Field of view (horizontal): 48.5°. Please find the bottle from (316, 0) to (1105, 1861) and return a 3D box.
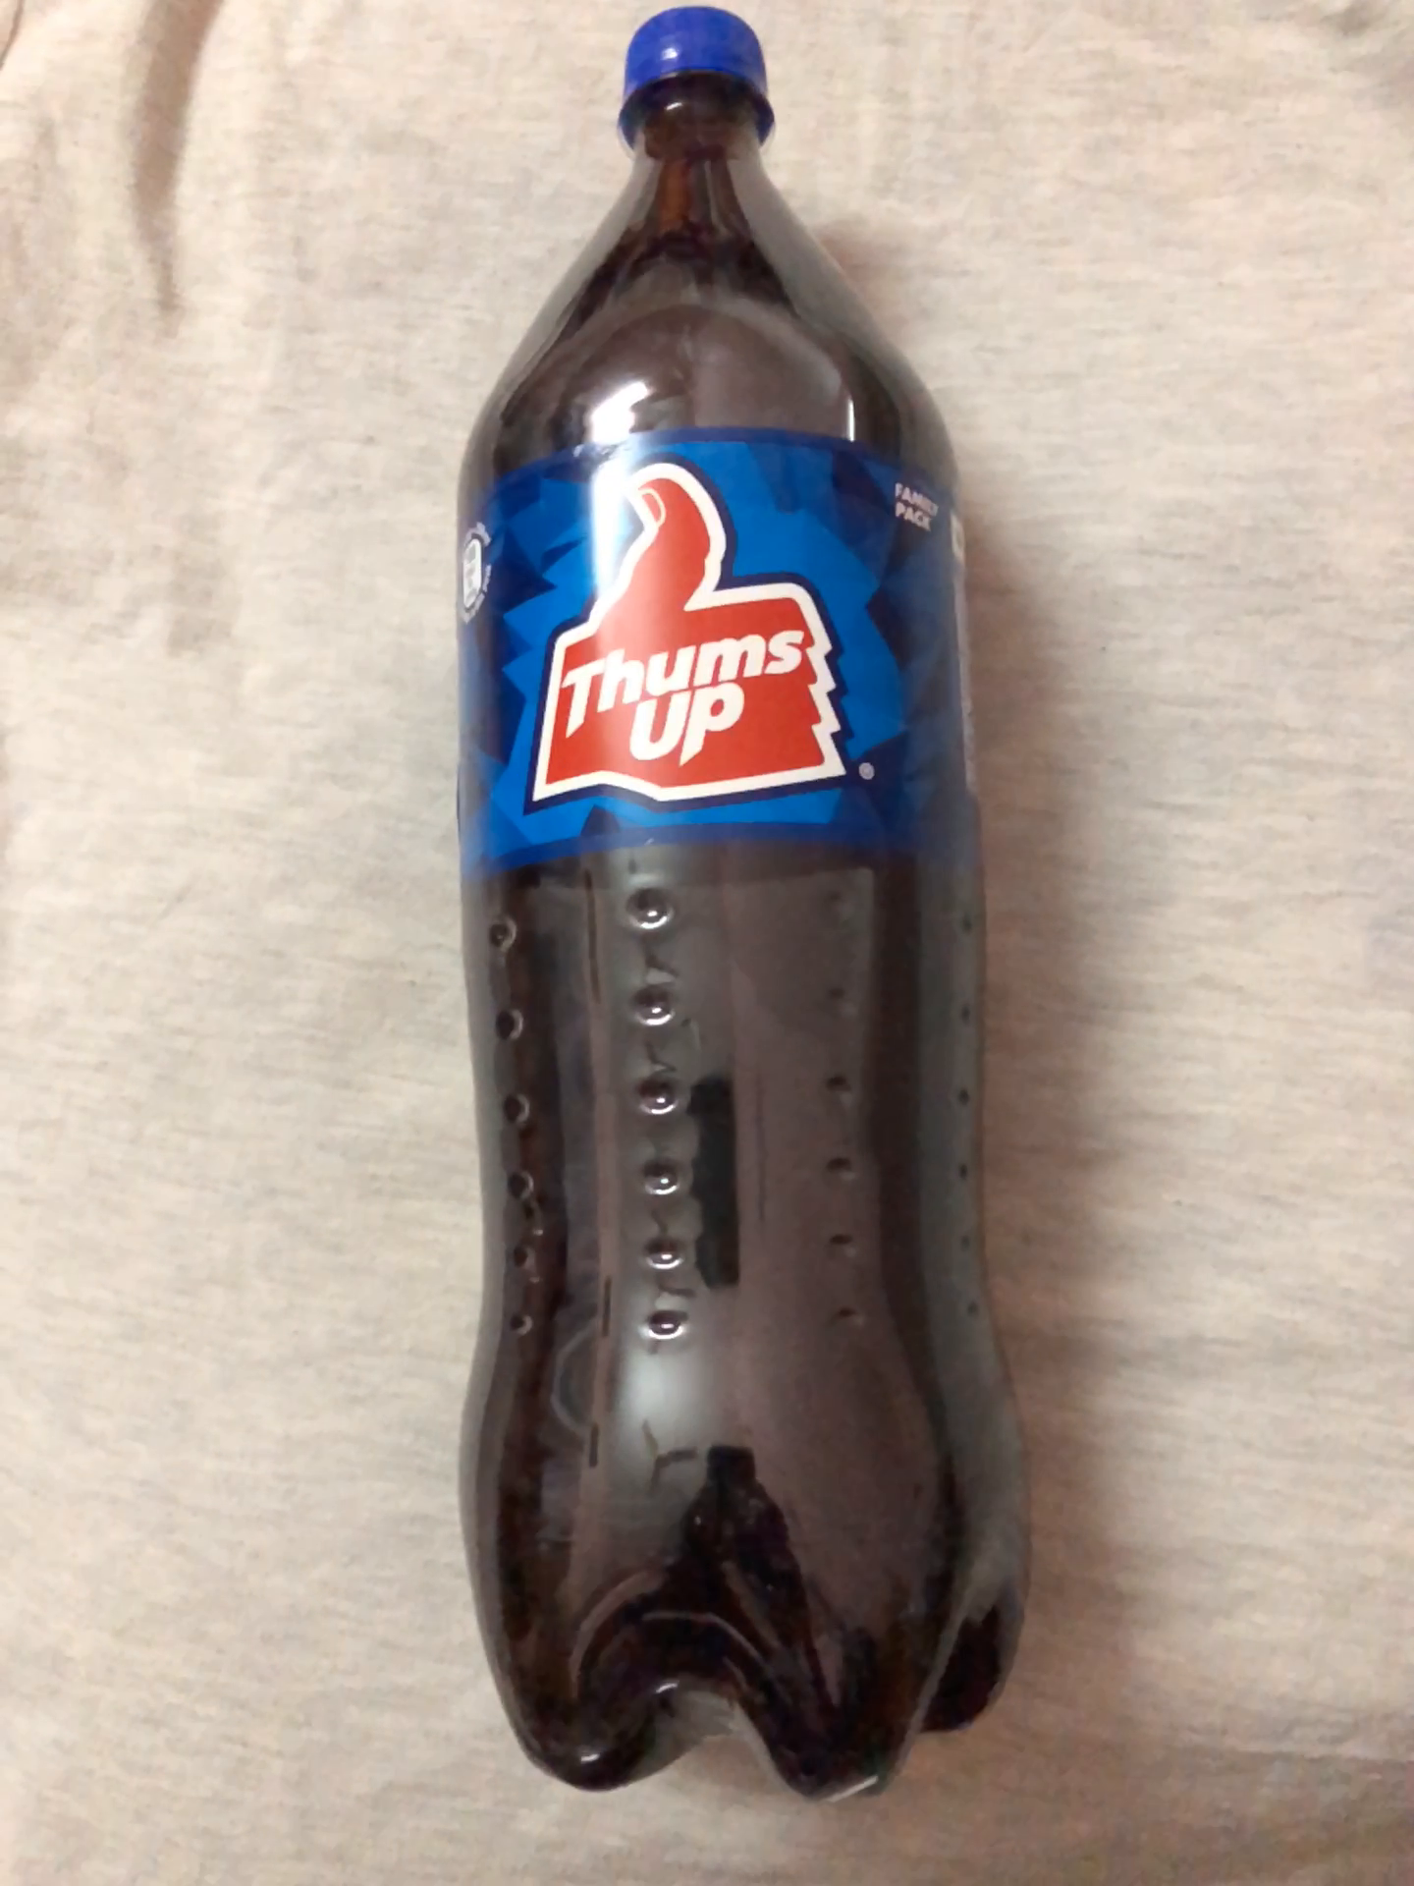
[{"bbox_3d":[-0.002,-0.029,0.252,0.100,0.060,0.300,-4,81,10],"label":"bottle"}]
